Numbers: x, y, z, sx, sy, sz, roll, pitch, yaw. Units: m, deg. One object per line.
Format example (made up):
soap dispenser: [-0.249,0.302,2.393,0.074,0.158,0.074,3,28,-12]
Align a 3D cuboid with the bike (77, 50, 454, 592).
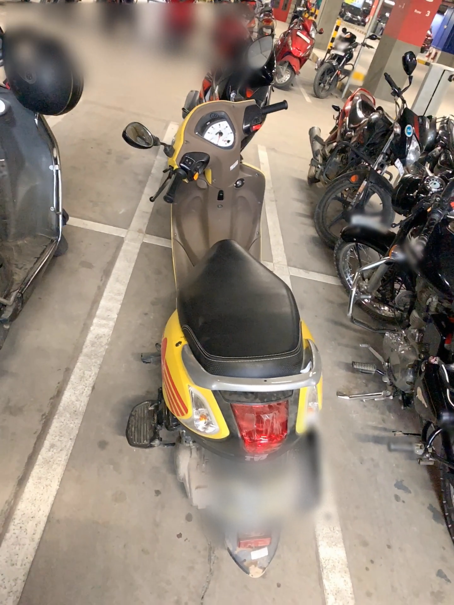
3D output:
bike: [-0.064,-0.143,1.666,0.566,1.048,1.713,8,35,-13]
